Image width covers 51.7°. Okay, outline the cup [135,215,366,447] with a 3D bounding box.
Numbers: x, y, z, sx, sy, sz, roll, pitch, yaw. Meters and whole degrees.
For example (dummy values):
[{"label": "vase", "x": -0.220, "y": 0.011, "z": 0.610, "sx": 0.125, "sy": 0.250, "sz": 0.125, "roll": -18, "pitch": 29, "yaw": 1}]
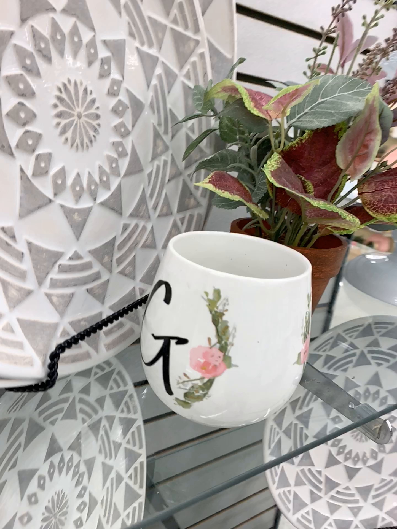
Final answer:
[{"label": "cup", "x": 0.019, "y": 0.029, "z": 0.244, "sx": 0.089, "sy": 0.090, "sz": 0.100, "roll": 0, "pitch": 19, "yaw": -21}]
